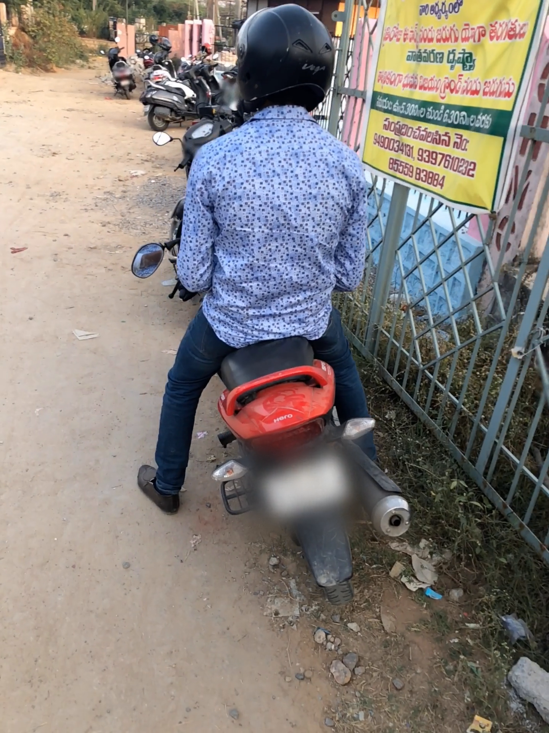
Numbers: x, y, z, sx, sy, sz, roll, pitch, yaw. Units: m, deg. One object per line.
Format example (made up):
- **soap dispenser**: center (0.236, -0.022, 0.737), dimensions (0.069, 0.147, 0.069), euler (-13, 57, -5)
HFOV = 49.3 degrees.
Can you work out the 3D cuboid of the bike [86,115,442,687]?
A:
- **bike**: center (-0.267, -0.087, 2.111), dimensions (0.582, 1.176, 1.697), euler (-4, 31, -19)
